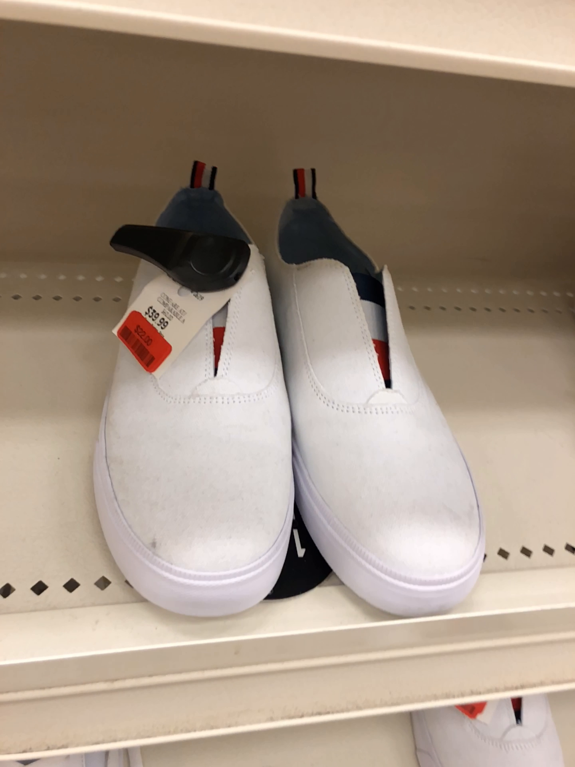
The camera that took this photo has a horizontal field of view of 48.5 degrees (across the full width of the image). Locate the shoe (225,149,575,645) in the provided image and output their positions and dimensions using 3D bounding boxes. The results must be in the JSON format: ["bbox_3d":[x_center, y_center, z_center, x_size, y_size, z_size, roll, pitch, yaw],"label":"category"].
[{"bbox_3d":[0.032,-0.026,0.364,0.100,0.109,0.303,0,37,-12],"label":"shoe"}]

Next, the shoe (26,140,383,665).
[{"bbox_3d":[-0.051,-0.027,0.320,0.100,0.089,0.292,0,37,-12],"label":"shoe"}]
